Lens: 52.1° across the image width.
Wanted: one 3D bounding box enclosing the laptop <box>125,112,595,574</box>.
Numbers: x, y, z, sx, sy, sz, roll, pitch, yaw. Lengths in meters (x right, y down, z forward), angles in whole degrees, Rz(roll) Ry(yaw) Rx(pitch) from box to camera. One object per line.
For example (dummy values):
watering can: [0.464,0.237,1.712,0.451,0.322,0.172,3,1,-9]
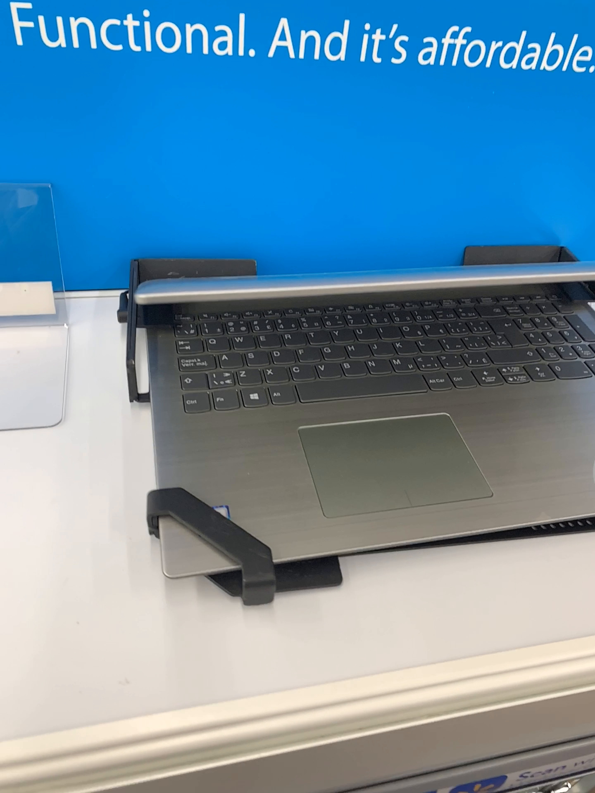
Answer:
laptop: [0.082,-0.053,0.338,0.324,0.110,0.220,-5,45,-14]
